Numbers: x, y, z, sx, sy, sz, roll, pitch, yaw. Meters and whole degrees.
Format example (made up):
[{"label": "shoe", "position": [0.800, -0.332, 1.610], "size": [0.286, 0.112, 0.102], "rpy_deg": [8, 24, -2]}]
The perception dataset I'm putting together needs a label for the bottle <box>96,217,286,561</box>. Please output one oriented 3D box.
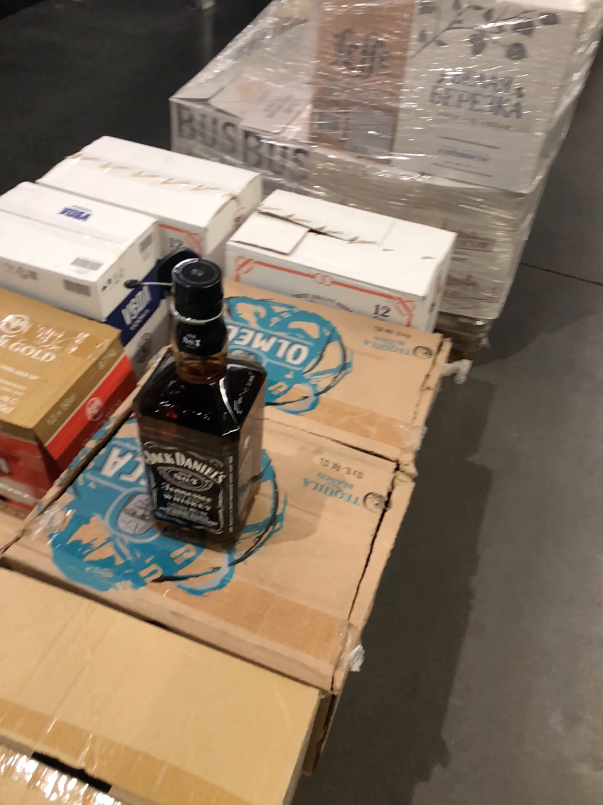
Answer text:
[{"label": "bottle", "position": [-0.091, 0.003, 0.619], "size": [0.110, 0.308, 0.111], "rpy_deg": [3, 45, -3]}]
